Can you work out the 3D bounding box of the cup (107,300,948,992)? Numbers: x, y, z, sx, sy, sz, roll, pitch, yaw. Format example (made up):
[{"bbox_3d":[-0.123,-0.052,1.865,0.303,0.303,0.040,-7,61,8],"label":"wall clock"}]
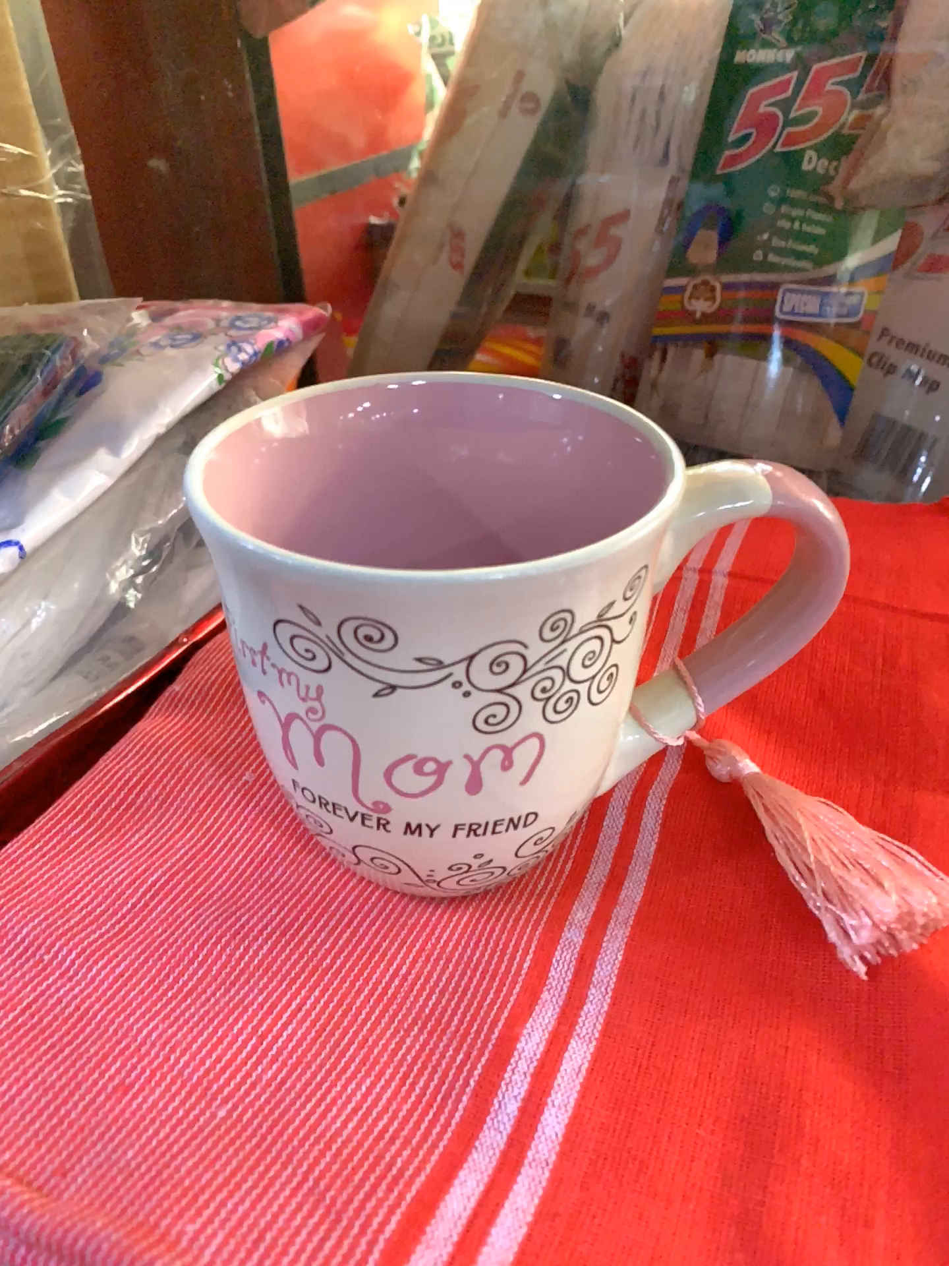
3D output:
[{"bbox_3d":[0.003,-0.007,0.193,0.125,0.075,0.086,-13,36,-14],"label":"cup"}]
